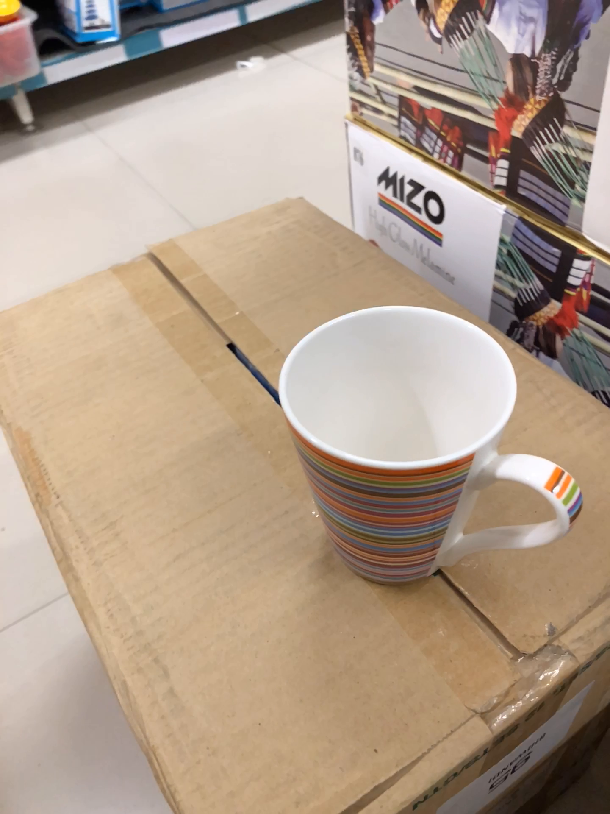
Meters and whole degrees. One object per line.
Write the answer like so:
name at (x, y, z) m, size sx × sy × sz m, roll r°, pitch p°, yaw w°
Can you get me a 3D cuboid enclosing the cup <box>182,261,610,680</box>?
cup at (0.035, 0.019, 0.268) m, size 0.130 × 0.090 × 0.080 m, roll 27°, pitch 55°, yaw 30°
